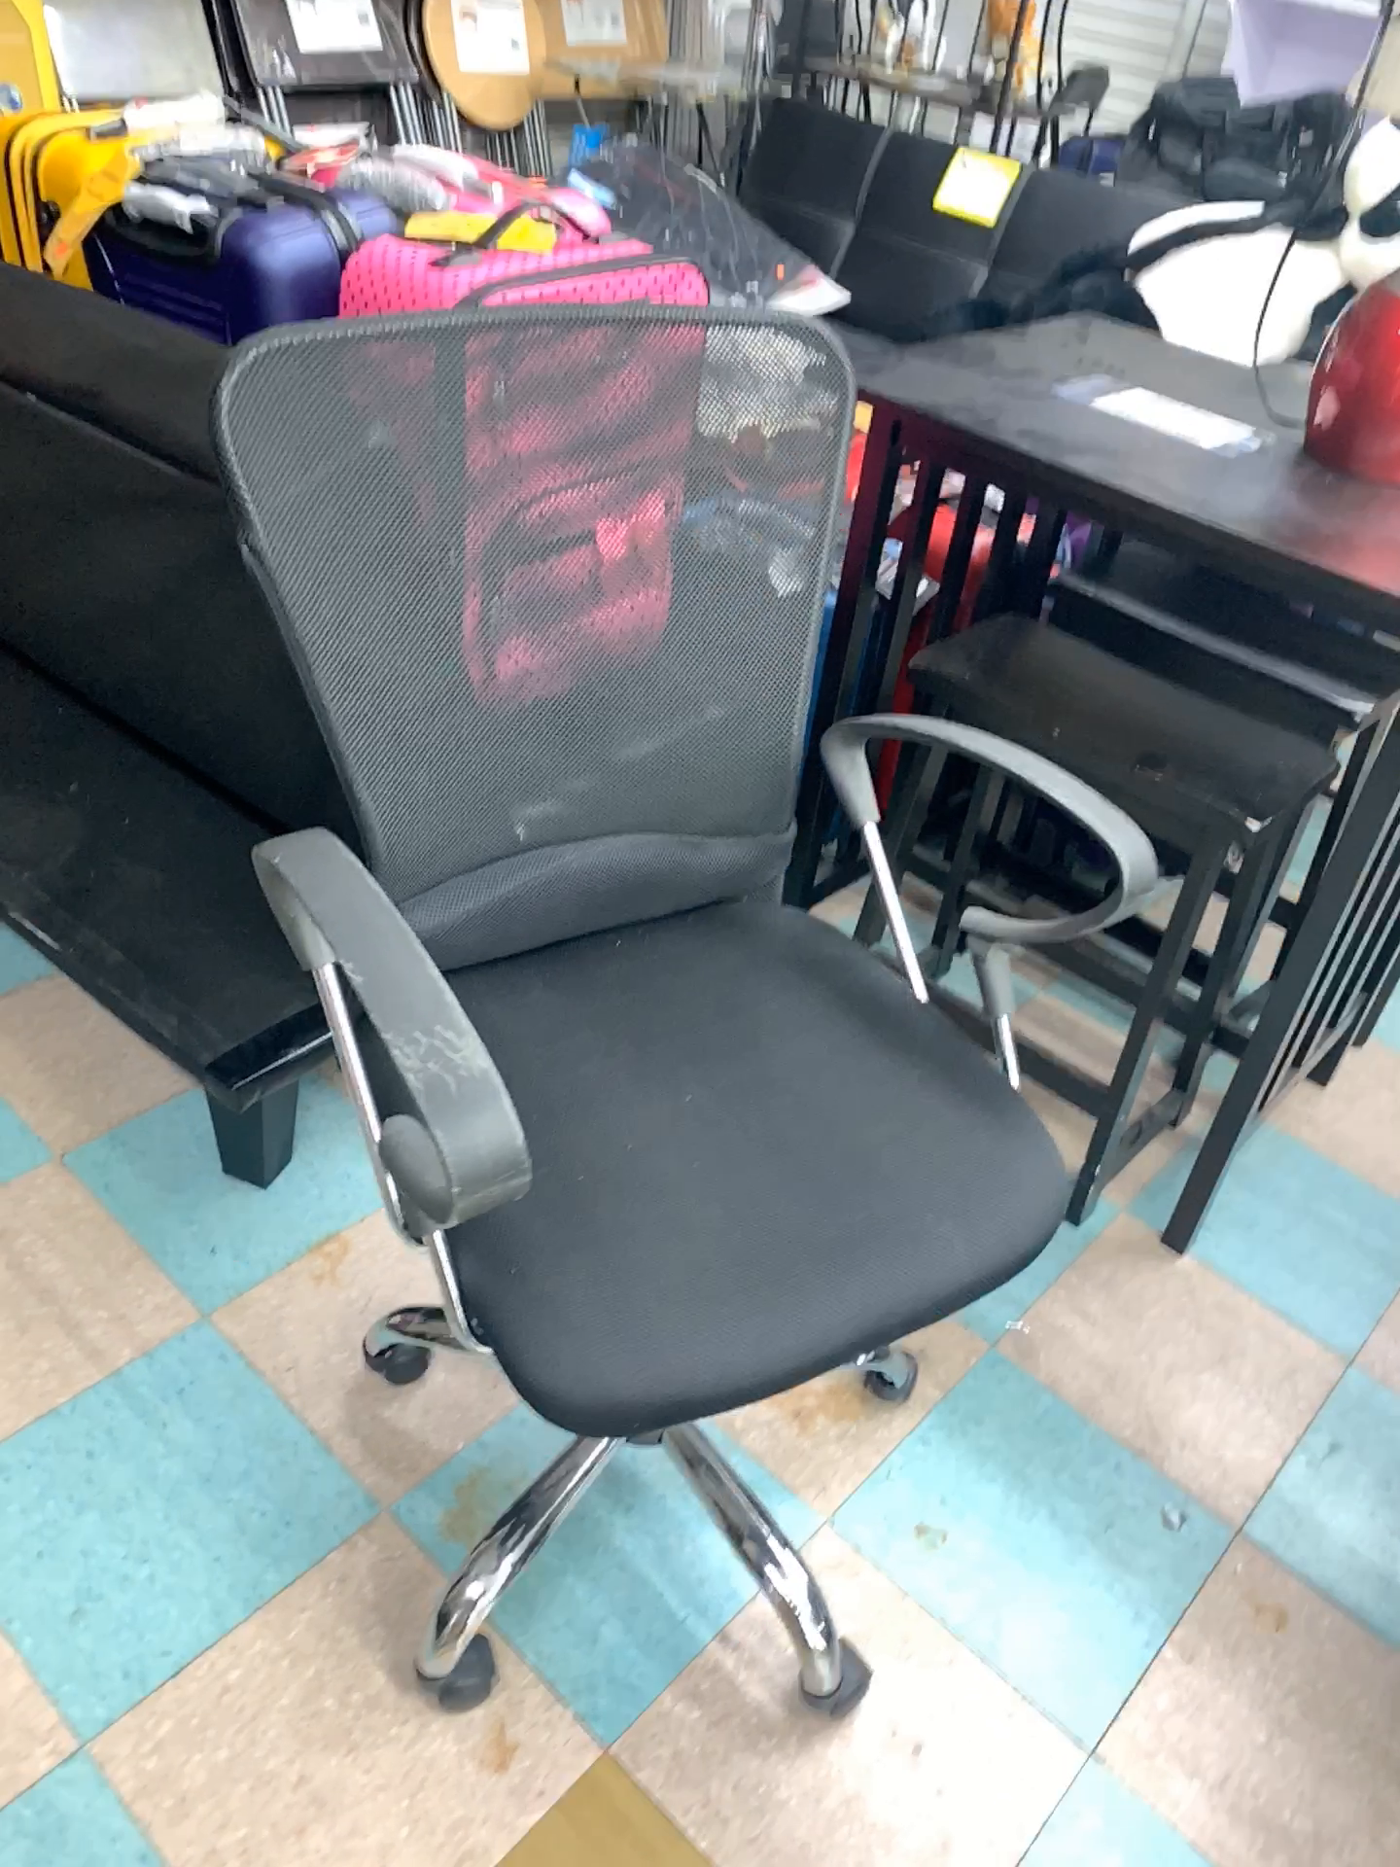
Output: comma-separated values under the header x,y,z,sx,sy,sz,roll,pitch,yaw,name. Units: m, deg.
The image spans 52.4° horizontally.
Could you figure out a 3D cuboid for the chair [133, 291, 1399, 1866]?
x,y,z,sx,sy,sz,roll,pitch,yaw,name
0.023,0.134,1.099,0.621,1.019,0.602,-16,43,-30,chair
